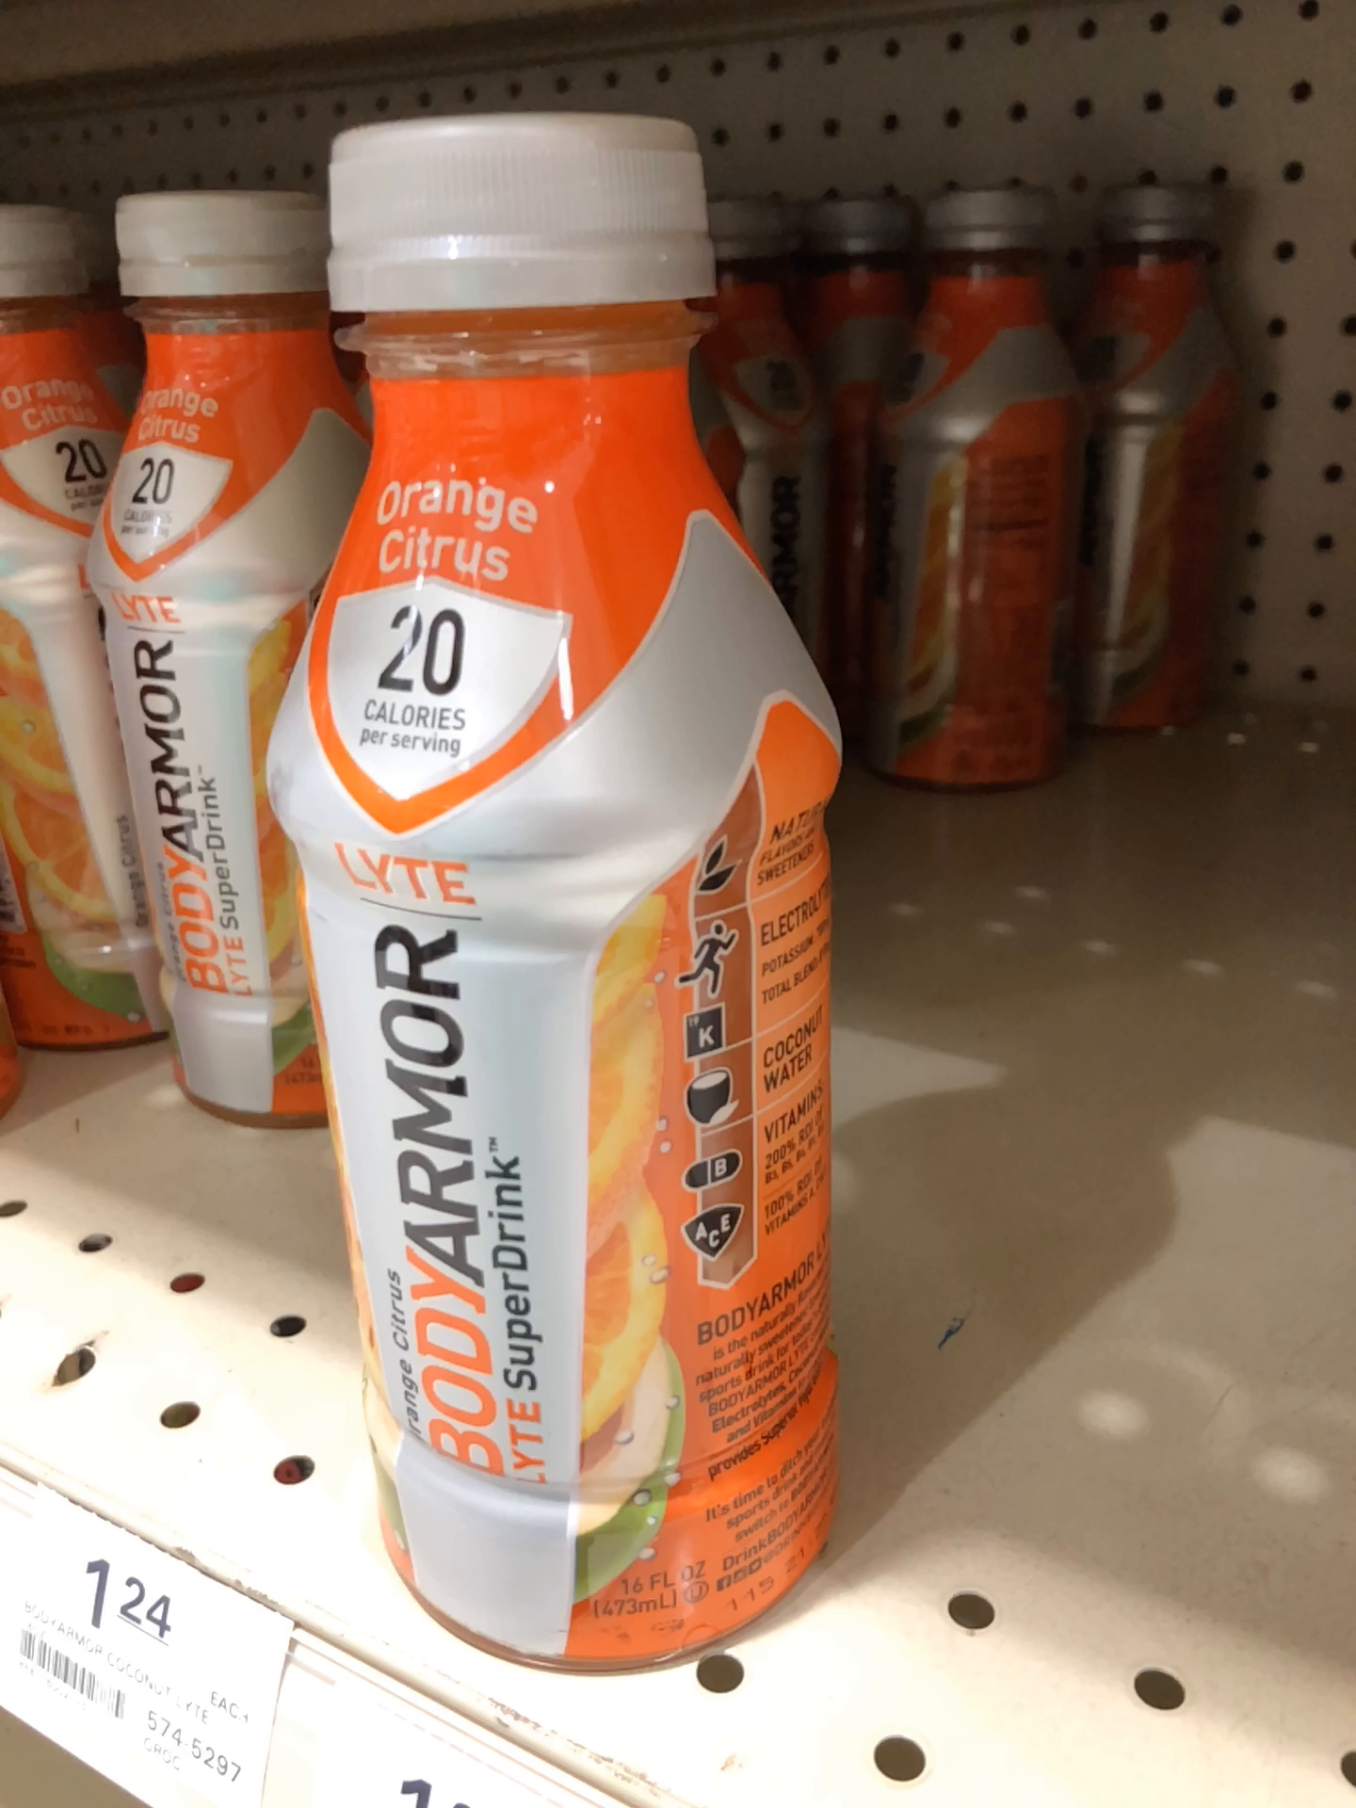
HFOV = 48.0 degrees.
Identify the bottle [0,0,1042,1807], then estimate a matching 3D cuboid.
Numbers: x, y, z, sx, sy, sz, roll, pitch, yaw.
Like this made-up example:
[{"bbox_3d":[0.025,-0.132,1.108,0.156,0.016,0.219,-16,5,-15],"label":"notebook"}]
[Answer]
[{"bbox_3d":[-0.012,0.001,0.181,0.080,0.180,0.080,-2,24,1],"label":"bottle"}]
